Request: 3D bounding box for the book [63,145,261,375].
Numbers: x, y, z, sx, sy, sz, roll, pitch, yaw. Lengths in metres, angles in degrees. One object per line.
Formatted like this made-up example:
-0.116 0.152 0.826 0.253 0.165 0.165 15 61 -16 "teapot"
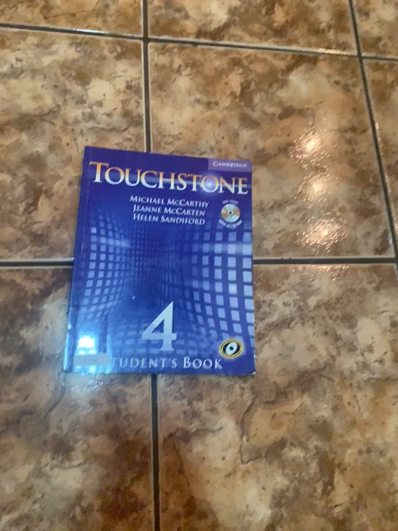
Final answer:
-0.038 -0.010 0.489 0.219 0.010 0.275 3 75 -9 "book"
